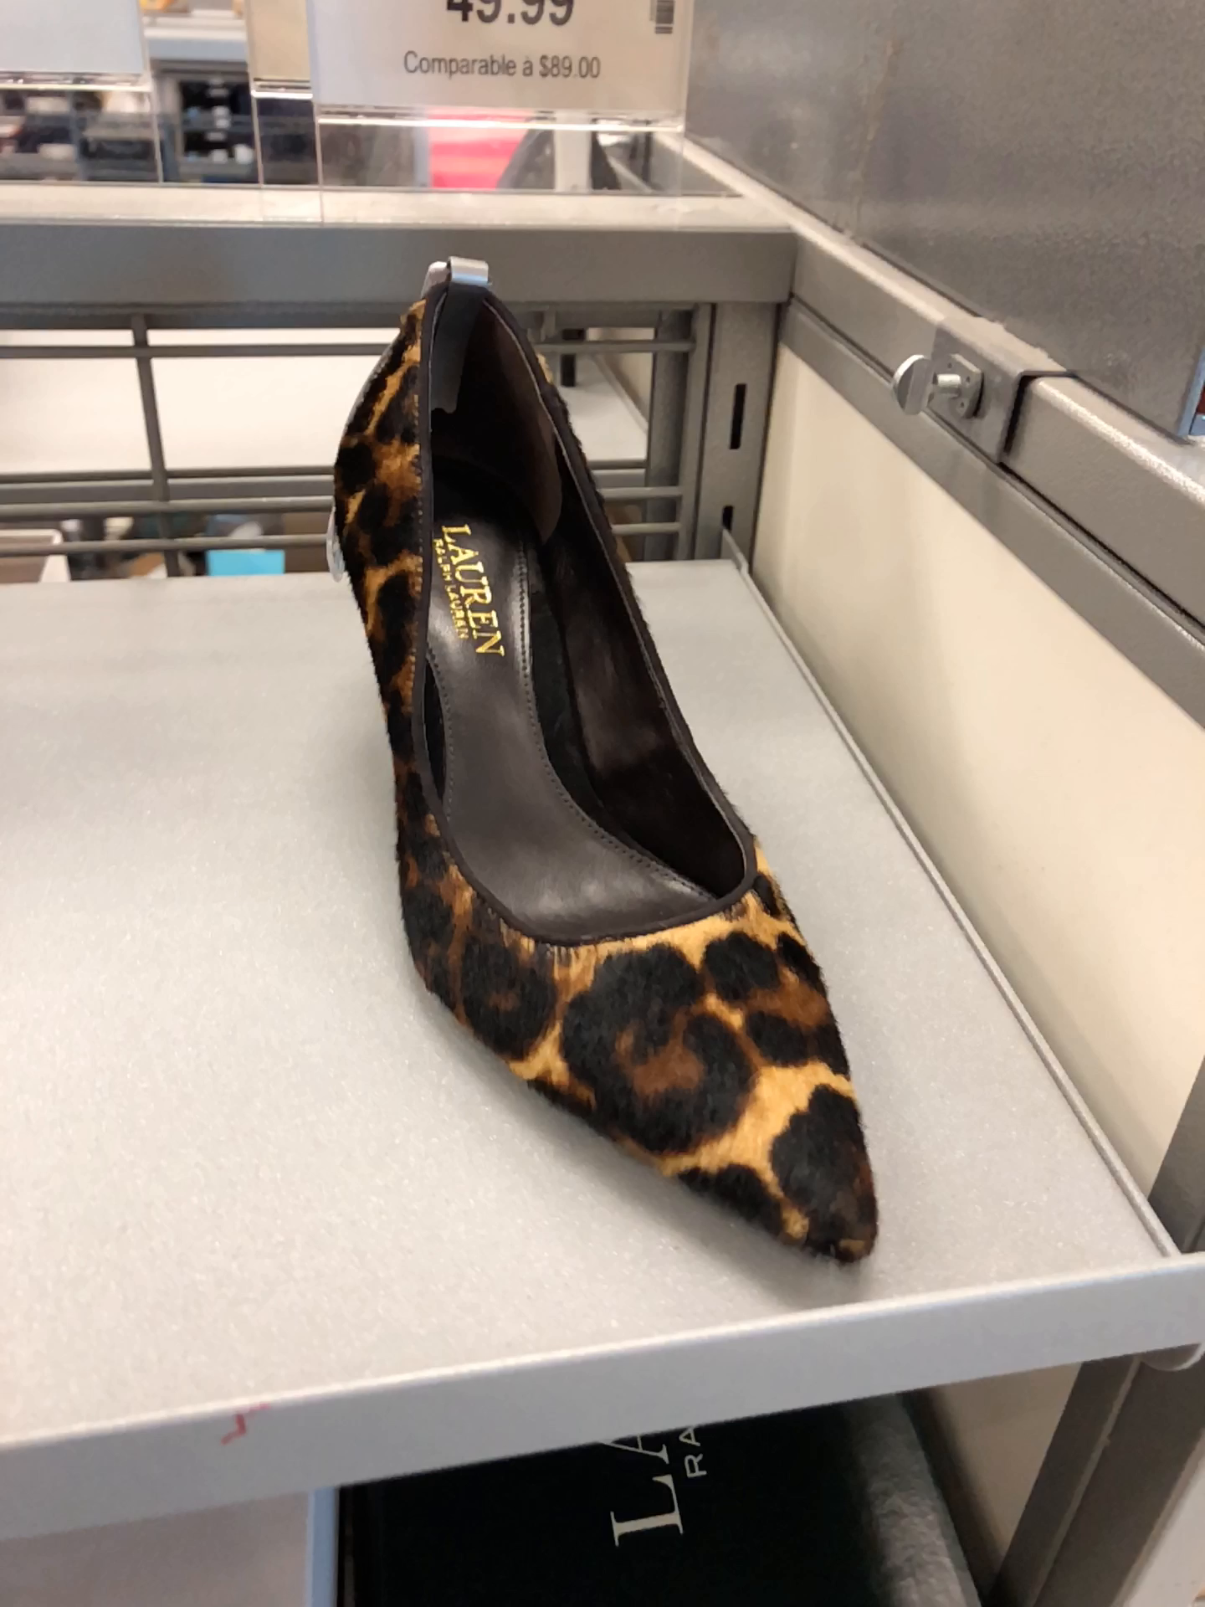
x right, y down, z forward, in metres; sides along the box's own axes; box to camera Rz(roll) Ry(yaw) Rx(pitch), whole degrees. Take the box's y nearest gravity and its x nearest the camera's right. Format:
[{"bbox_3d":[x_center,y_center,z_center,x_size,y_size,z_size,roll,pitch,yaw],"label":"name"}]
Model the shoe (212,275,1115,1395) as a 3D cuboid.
[{"bbox_3d":[-0.019,-0.027,0.324,0.090,0.129,0.272,-11,37,-20],"label":"shoe"}]
